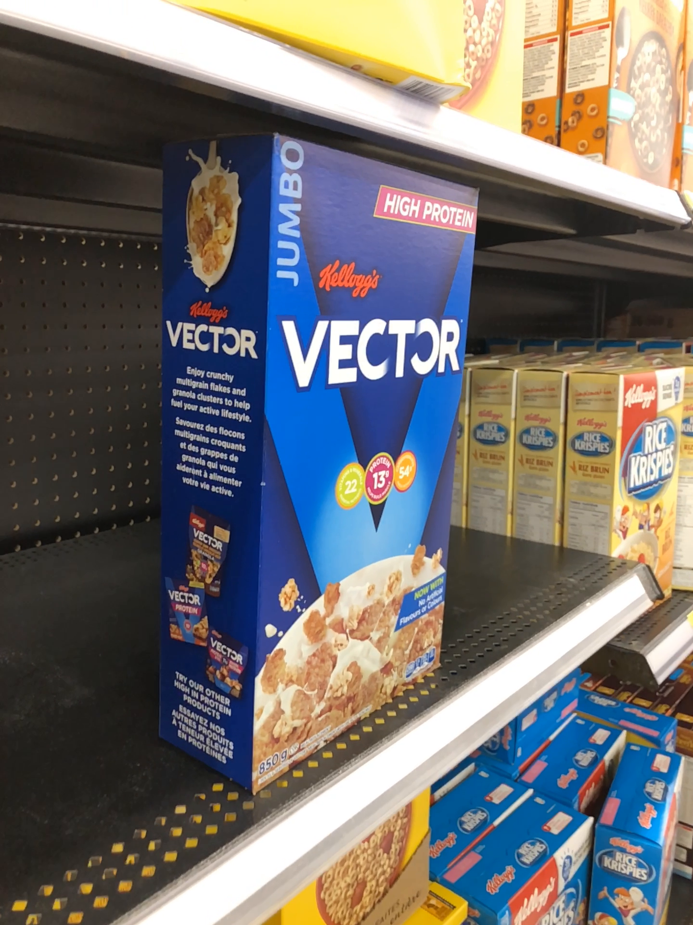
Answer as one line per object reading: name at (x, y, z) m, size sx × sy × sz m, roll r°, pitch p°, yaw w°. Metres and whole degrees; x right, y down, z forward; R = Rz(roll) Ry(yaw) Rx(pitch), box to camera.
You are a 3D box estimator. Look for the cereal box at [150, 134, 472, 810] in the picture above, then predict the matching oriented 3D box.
cereal box at (-0.017, -0.001, 0.487) m, size 0.080 × 0.349 × 0.200 m, roll 11°, pitch 14°, yaw 36°
